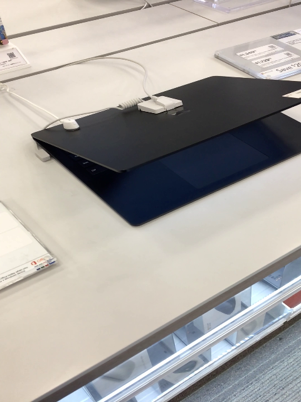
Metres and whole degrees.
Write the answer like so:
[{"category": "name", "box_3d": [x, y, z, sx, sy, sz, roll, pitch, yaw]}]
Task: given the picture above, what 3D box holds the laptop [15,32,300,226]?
[{"category": "laptop", "box_3d": [0.044, -0.113, 0.518, 0.313, 0.085, 0.215, -27, 54, -23]}]
